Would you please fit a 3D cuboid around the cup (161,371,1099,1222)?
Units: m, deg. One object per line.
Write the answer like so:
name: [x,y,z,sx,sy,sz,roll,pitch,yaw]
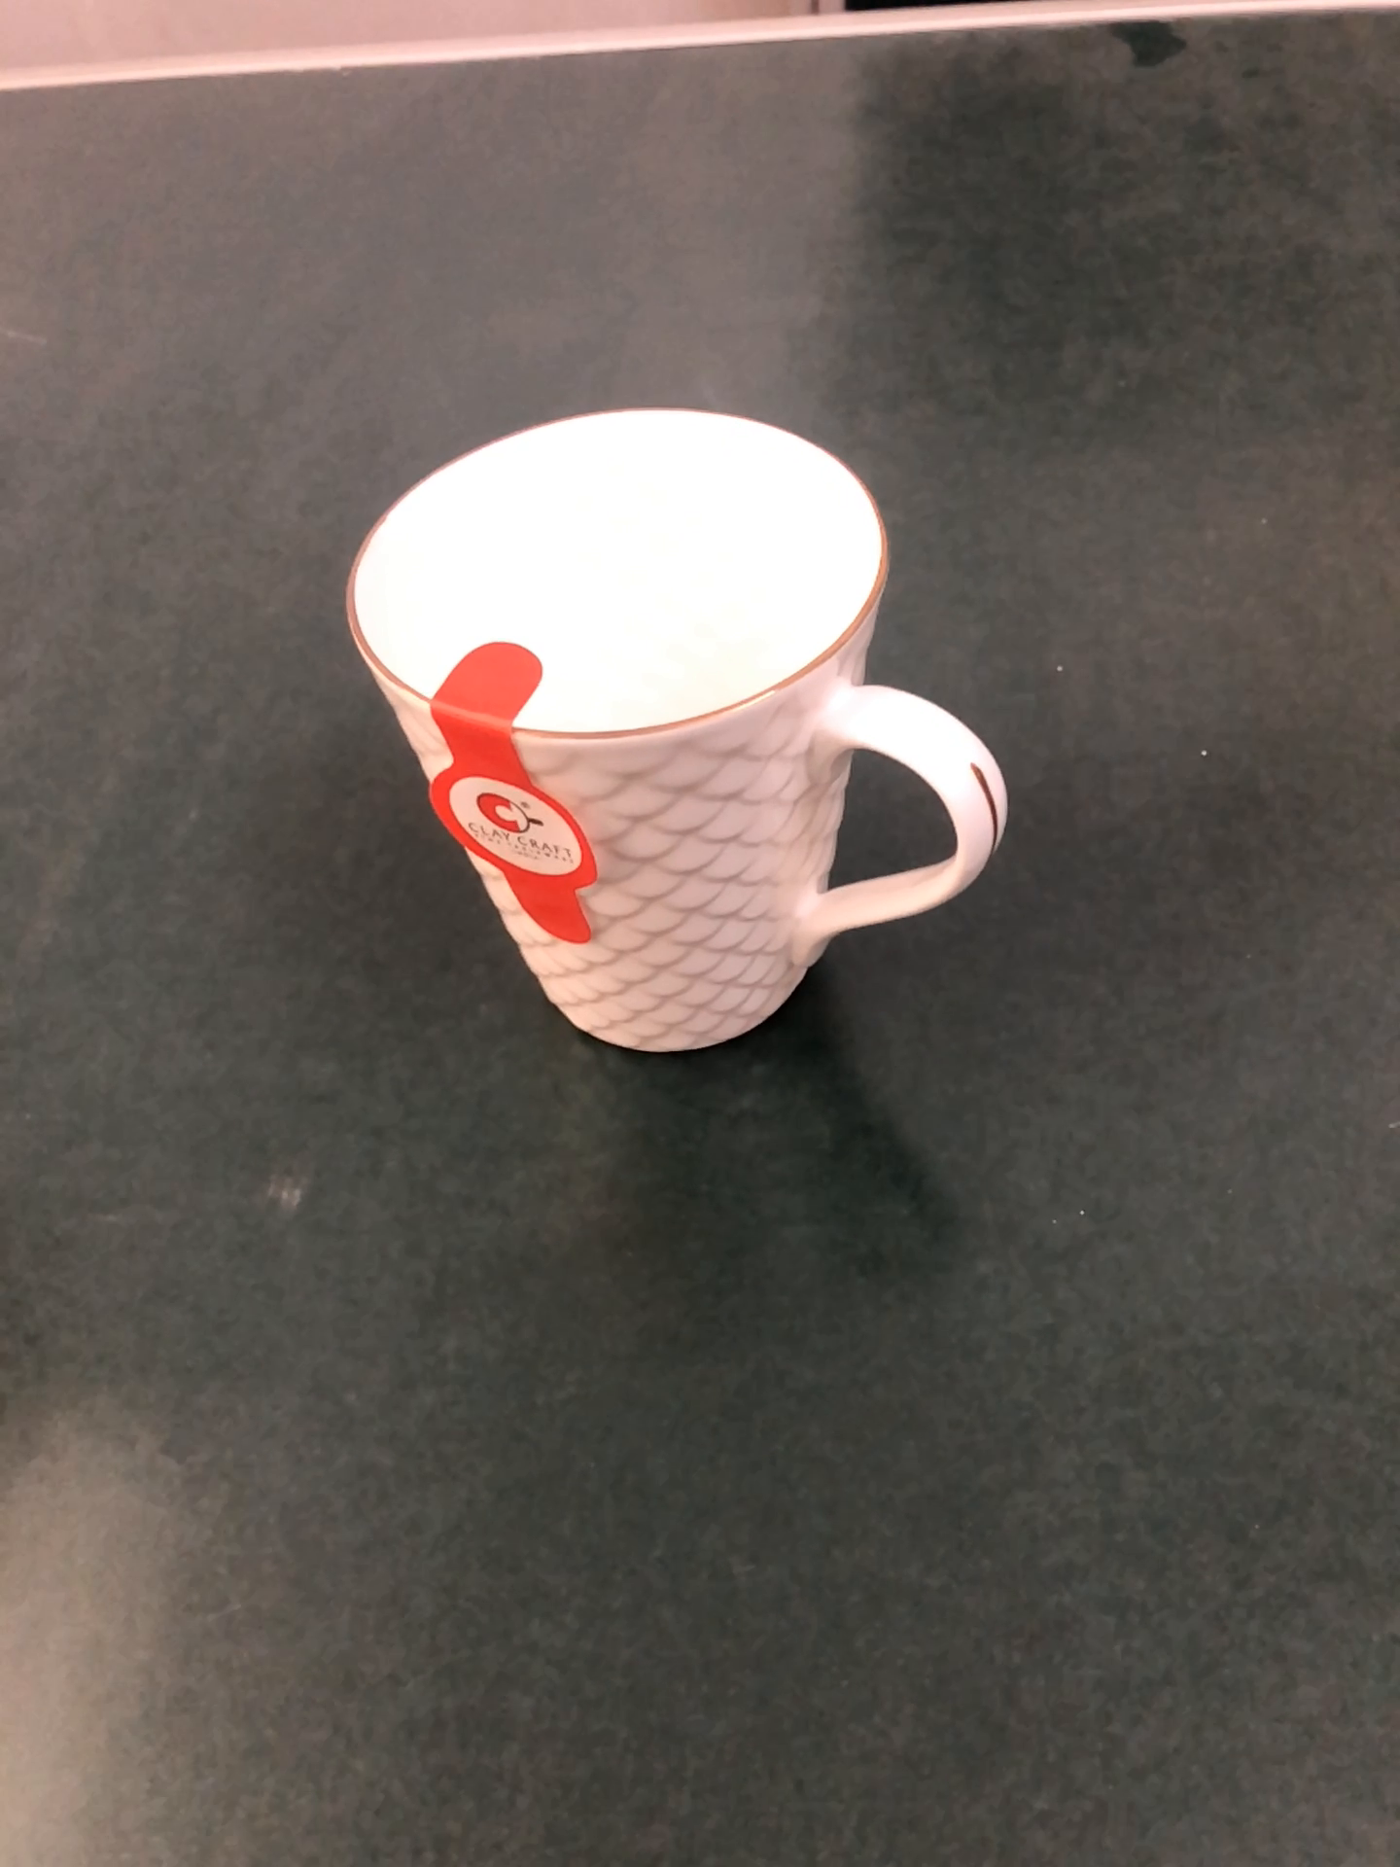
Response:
cup: [-0.006,-0.027,0.271,0.120,0.090,0.080,18,54,22]
